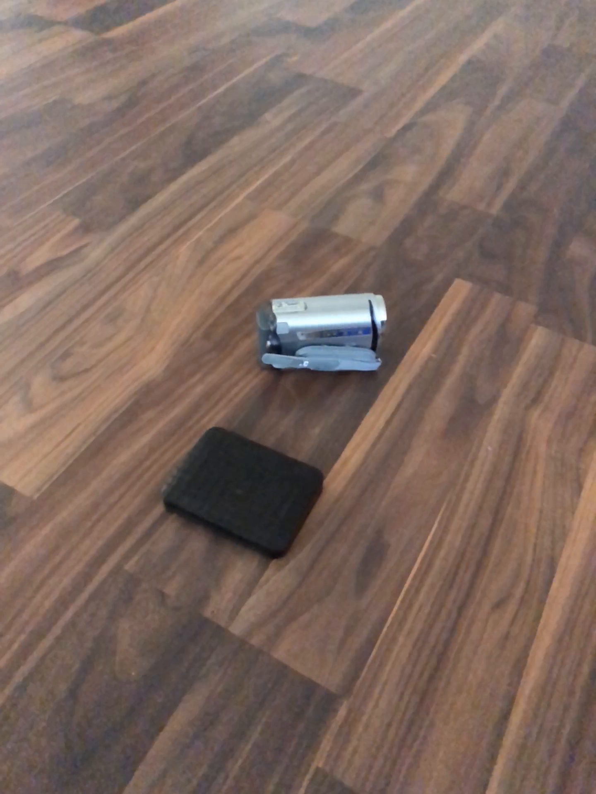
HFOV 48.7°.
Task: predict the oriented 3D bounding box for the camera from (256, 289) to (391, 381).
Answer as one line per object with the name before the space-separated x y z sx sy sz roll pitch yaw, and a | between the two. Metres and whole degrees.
camera | 0.021 -0.058 0.613 0.115 0.065 0.048 -4 48 -7
